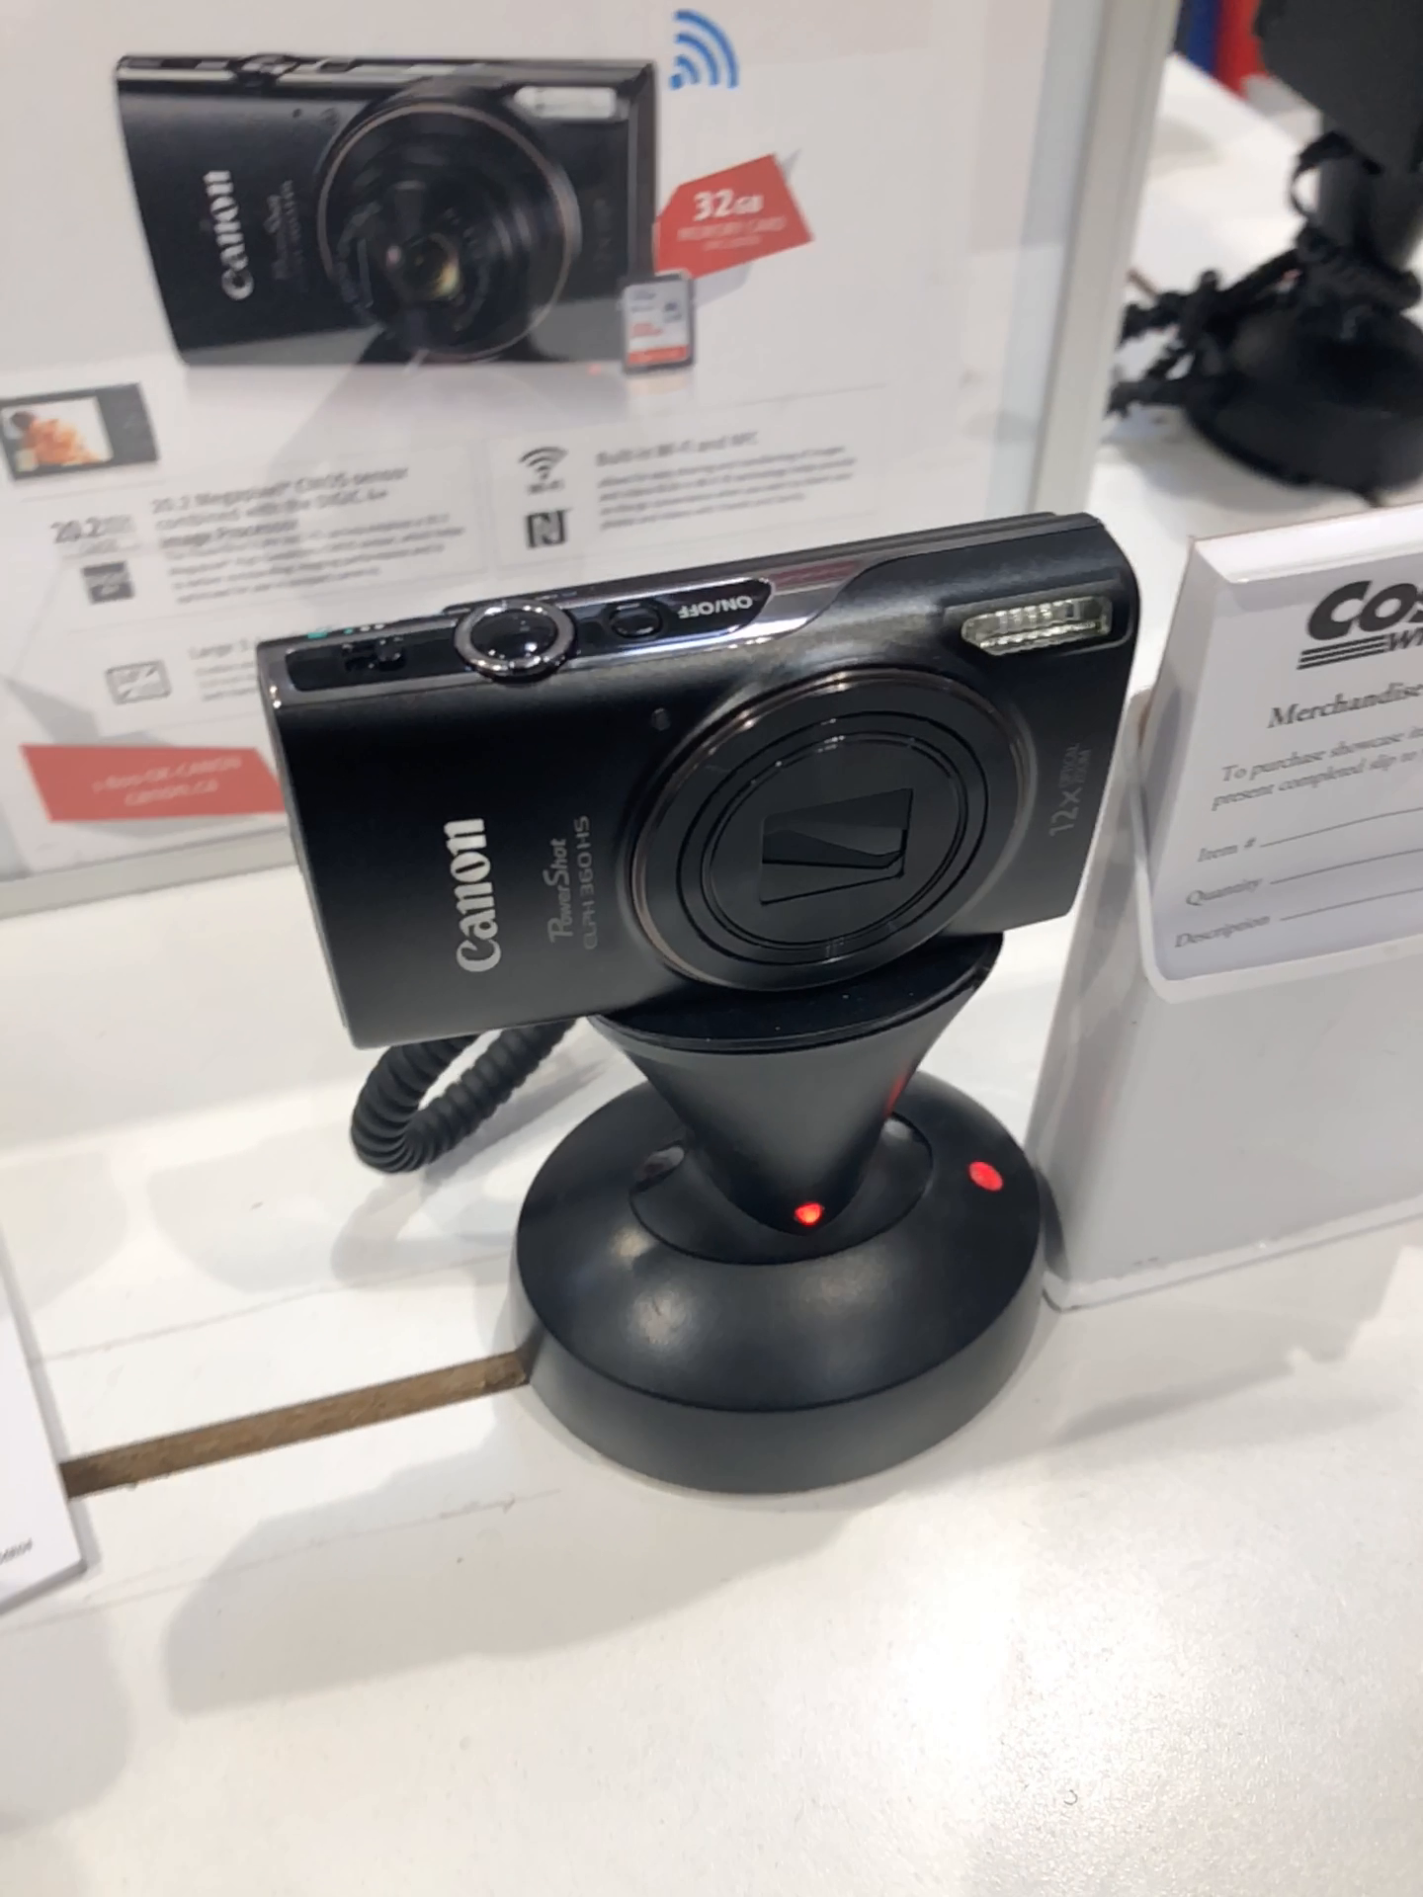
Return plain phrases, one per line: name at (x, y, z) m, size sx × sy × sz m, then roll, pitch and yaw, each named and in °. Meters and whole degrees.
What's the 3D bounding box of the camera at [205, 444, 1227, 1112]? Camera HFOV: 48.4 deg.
camera at (0.001, -0.021, 0.198) m, size 0.110 × 0.060 × 0.030 m, roll -11°, pitch 47°, yaw -10°
